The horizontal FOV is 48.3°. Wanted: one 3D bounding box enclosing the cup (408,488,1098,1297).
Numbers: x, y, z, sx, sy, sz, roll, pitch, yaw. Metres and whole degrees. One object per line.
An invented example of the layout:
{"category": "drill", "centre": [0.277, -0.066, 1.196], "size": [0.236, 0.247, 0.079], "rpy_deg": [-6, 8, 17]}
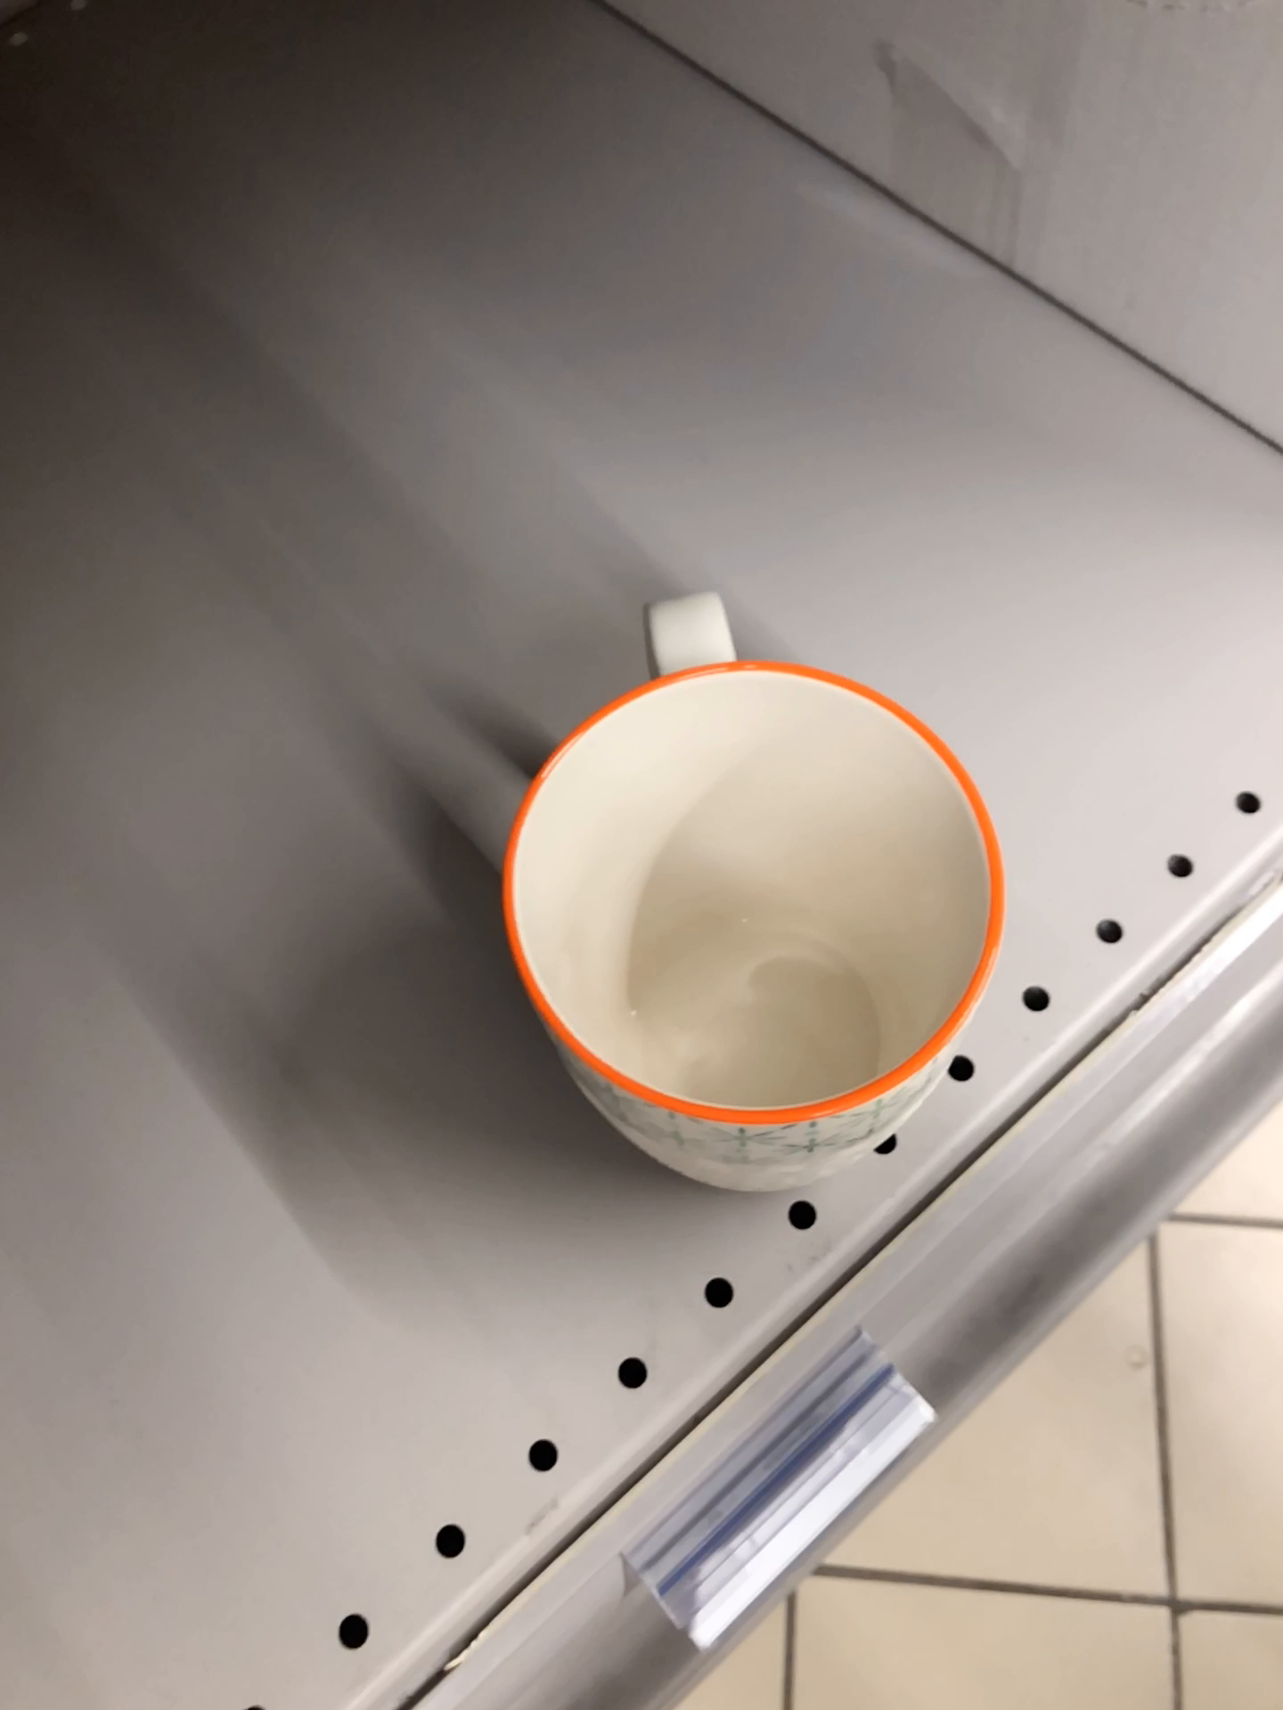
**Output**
{"category": "cup", "centre": [0.020, 0.015, 0.289], "size": [0.092, 0.100, 0.118], "rpy_deg": [-14, 67, 3]}
